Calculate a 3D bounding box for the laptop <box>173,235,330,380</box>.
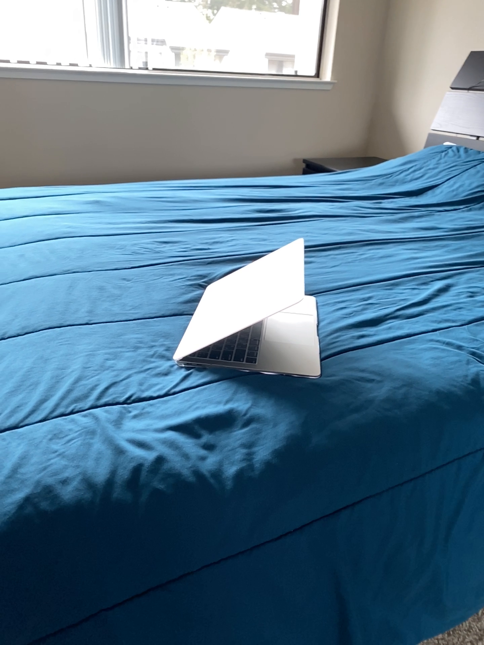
[{"bbox_3d":[0.029,-0.044,0.841,0.218,0.106,0.312,7,26,4],"label":"laptop"}]
